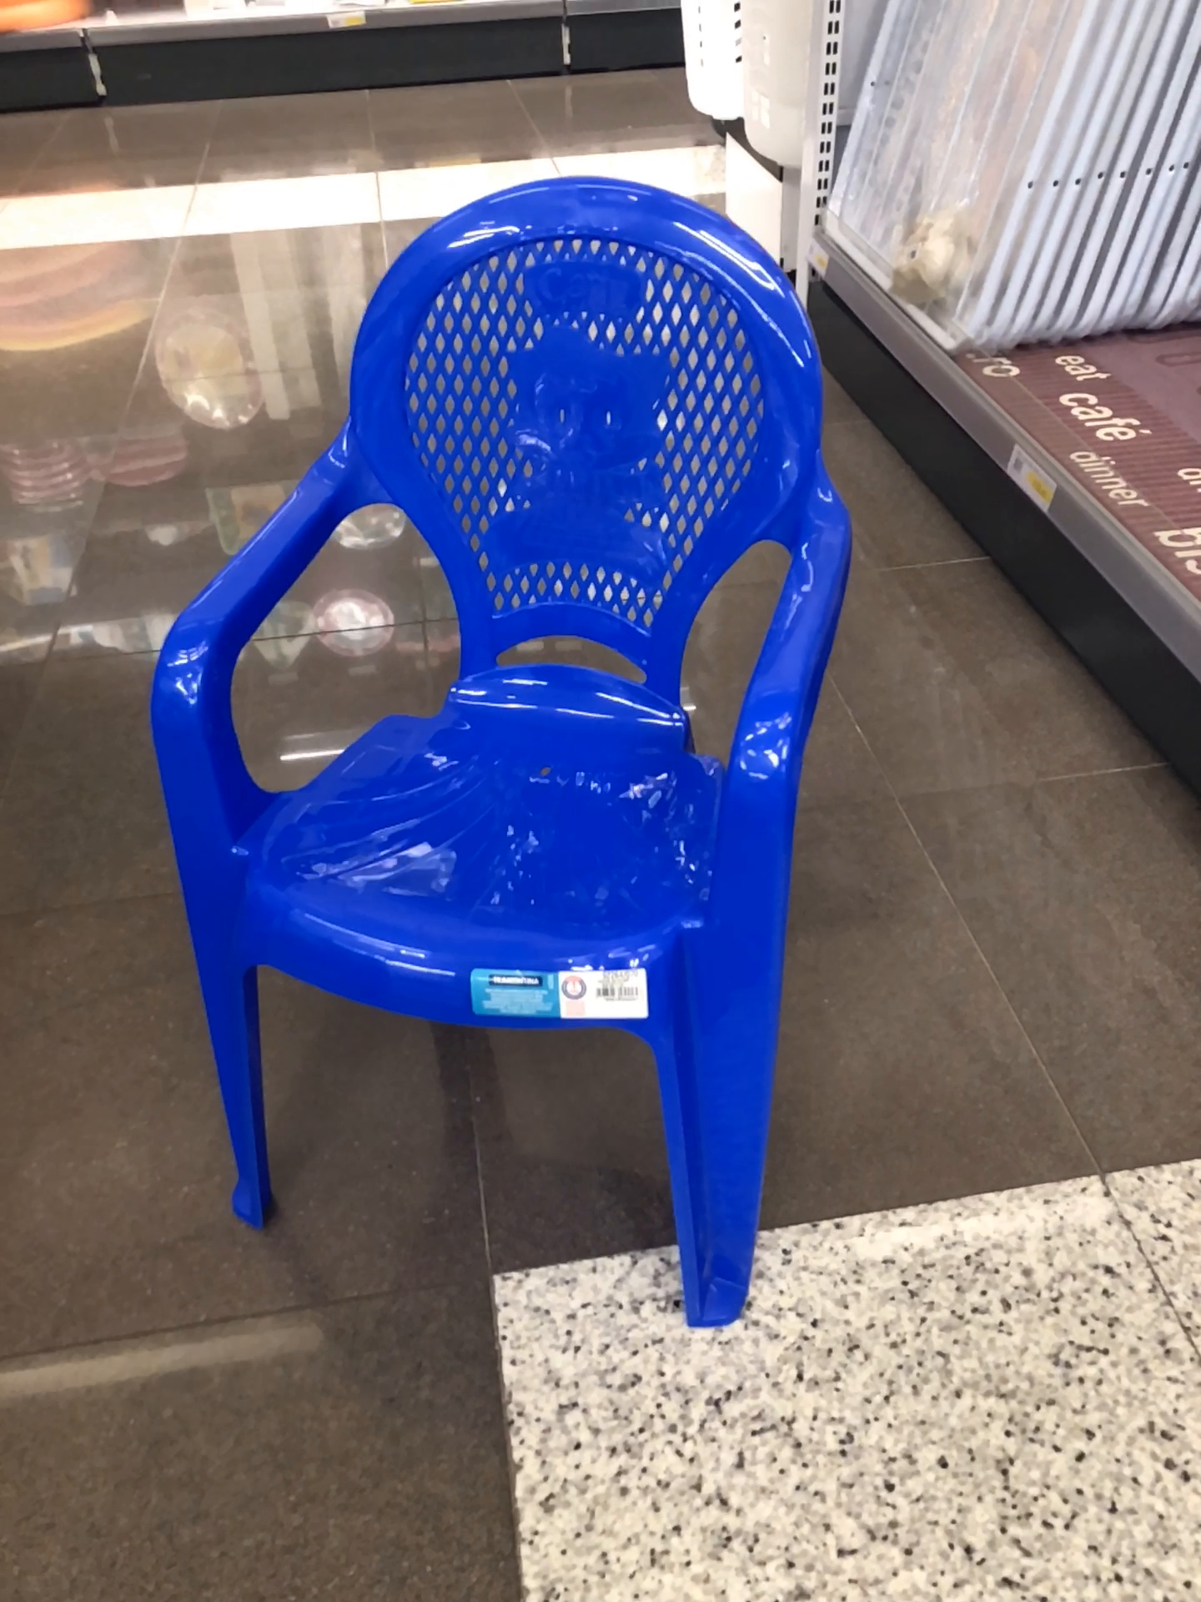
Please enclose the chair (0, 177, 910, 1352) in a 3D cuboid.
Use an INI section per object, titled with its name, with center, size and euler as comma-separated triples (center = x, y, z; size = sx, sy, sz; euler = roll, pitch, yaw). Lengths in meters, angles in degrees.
[chair]
center = -0.044, -0.039, 0.774
size = 0.350, 0.506, 0.403
euler = 9, 39, 14
